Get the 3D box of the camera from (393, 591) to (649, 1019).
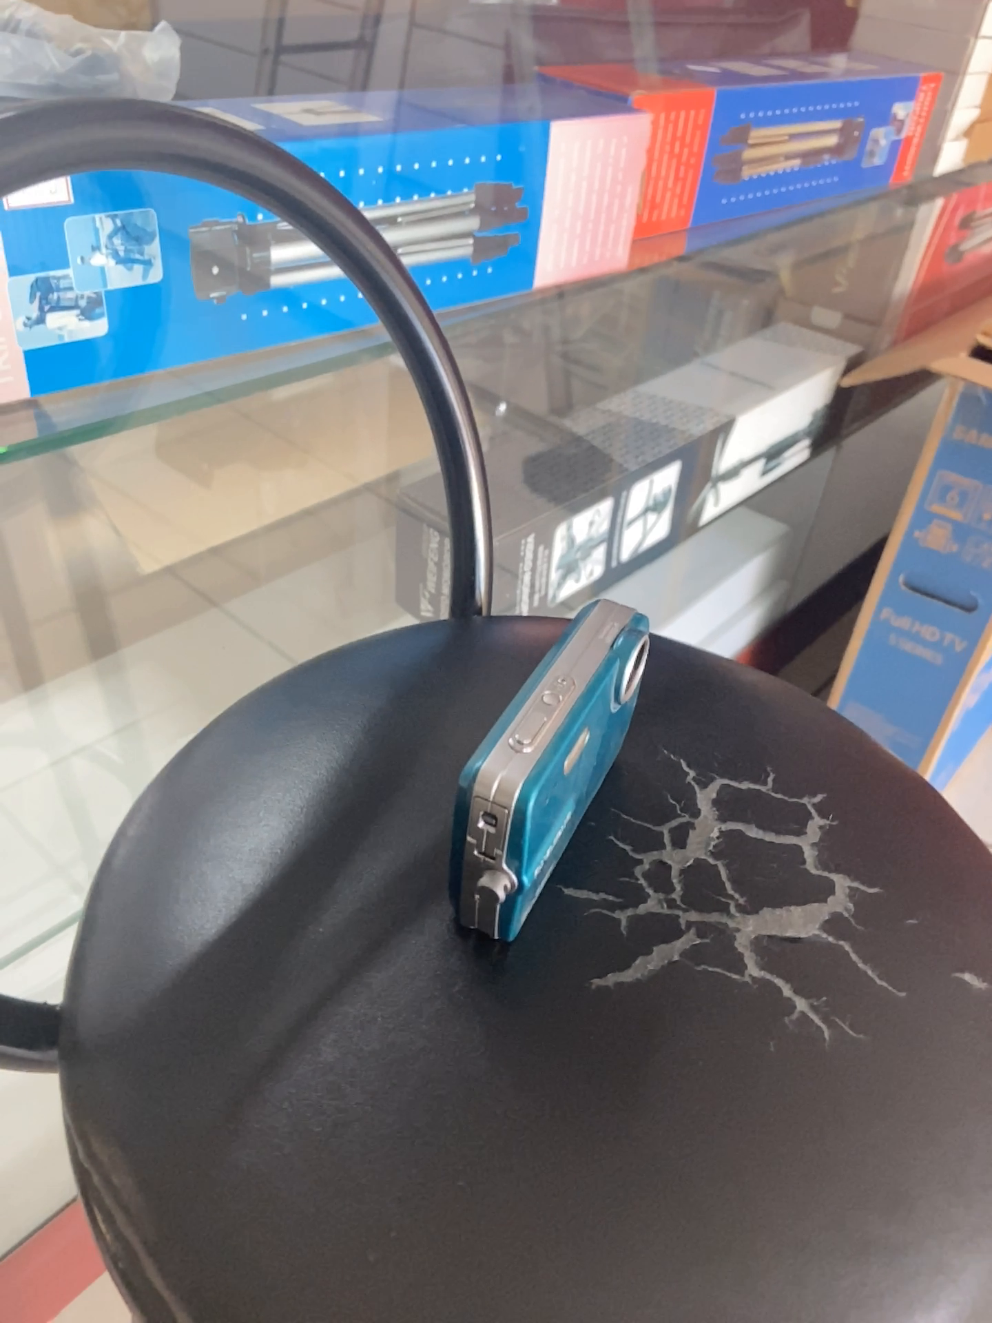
[{"bbox_3d":[0.009,0.037,0.296,0.030,0.070,0.101,19,39,16],"label":"camera"}]
